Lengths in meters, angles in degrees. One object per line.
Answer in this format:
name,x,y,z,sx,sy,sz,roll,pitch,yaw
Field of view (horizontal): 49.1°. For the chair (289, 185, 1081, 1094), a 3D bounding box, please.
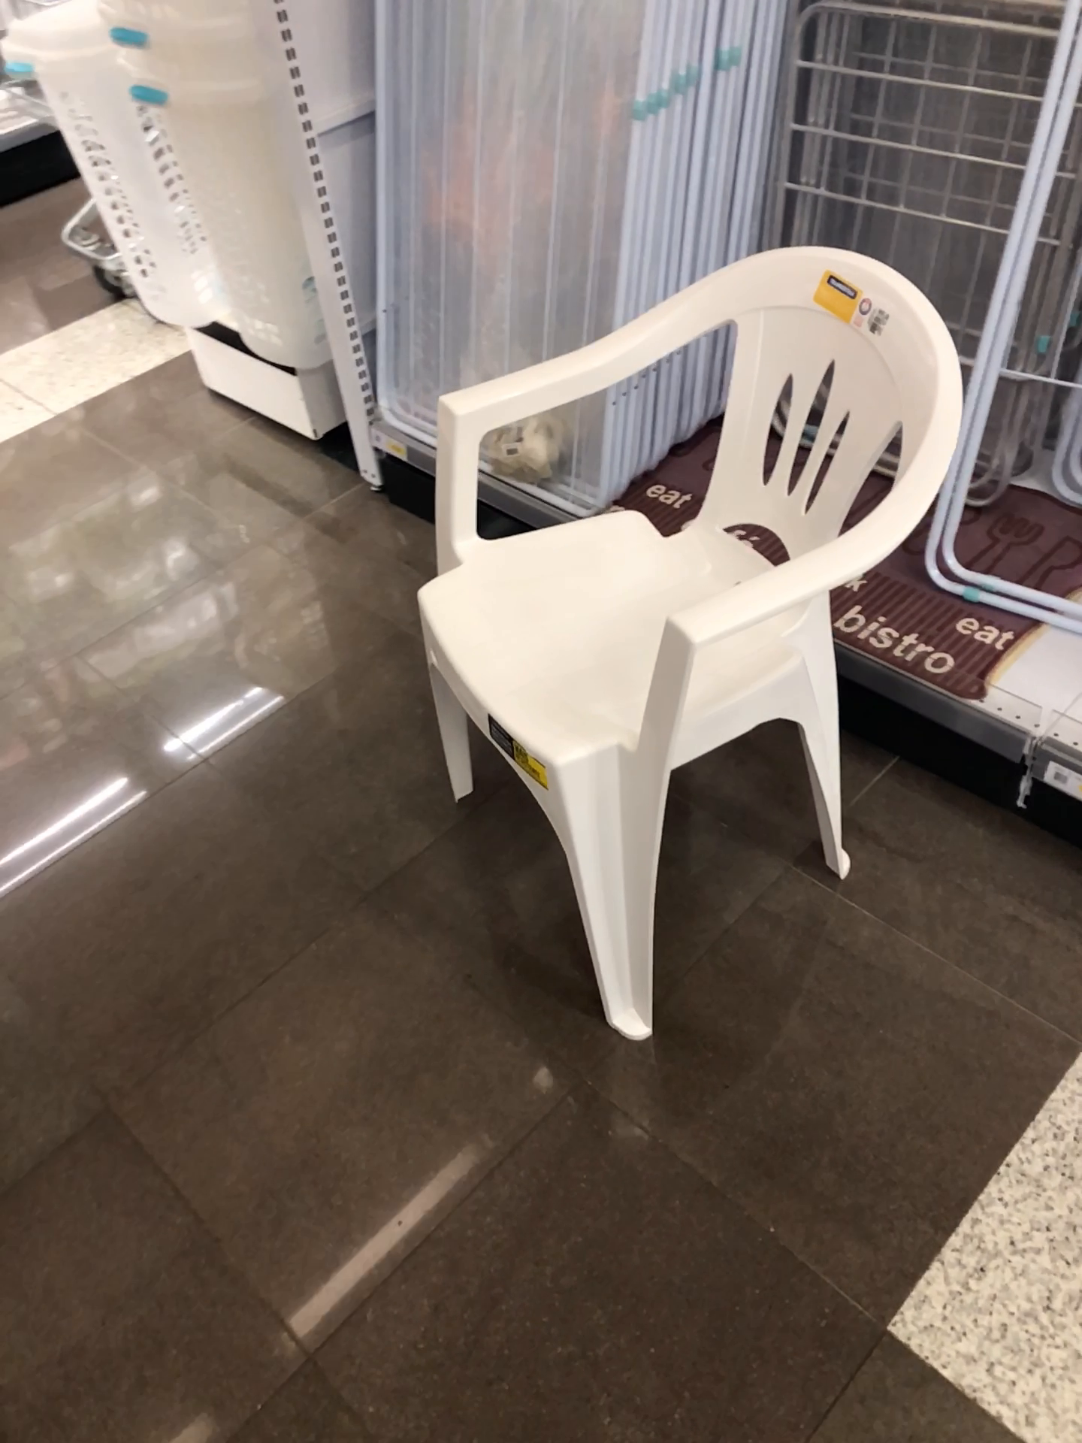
chair,0.178,-0.119,1.418,0.601,0.705,0.603,-27,46,-19
